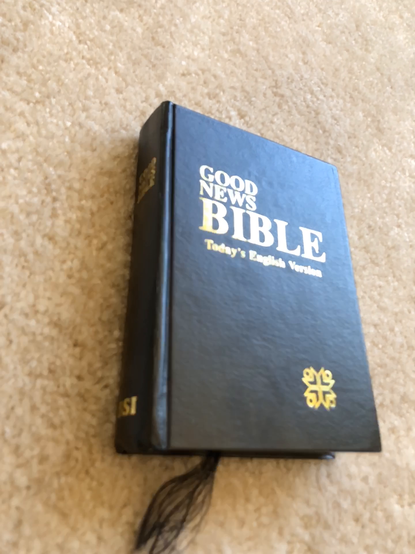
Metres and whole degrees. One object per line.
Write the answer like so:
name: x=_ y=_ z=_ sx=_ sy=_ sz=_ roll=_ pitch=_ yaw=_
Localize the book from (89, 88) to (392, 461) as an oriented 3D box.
book: x=0.017 y=0.002 z=0.225 sx=0.124 sy=0.040 sz=0.160 roll=12 pitch=62 yaw=-26
